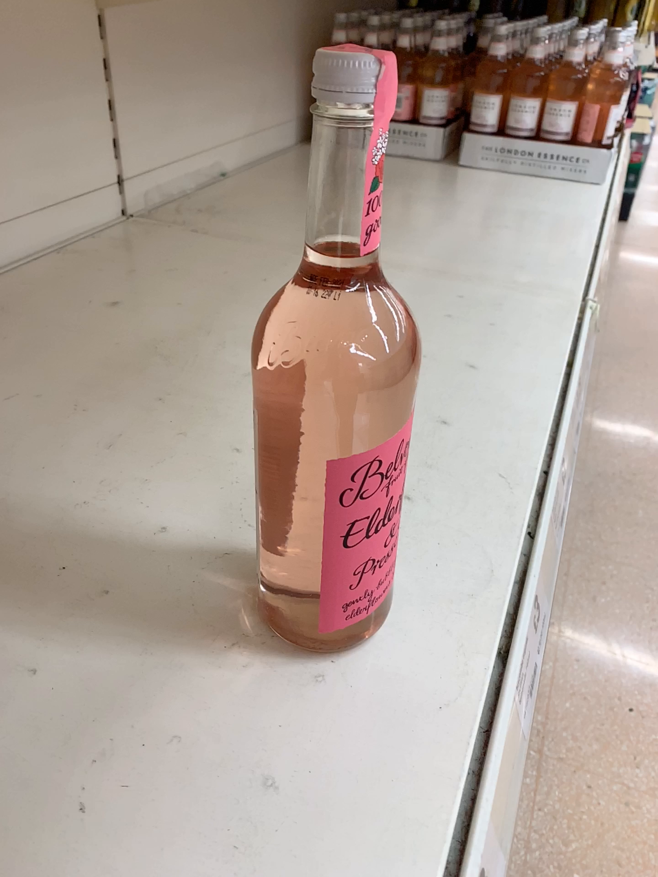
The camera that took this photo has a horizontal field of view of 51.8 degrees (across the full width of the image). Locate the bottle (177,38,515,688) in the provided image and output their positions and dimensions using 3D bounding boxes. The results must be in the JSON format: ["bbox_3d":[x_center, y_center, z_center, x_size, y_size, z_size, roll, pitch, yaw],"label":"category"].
[{"bbox_3d":[0.003,-0.023,0.315,0.086,0.274,0.087,2,34,-1],"label":"bottle"}]
